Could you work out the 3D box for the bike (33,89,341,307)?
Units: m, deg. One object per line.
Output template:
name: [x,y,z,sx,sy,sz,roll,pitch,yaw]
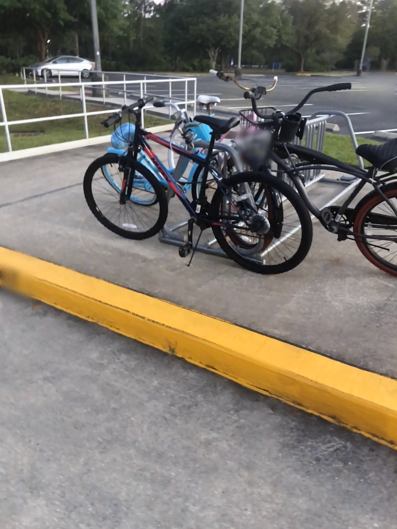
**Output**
bike: [-0.104,-0.507,2.644,1.632,0.932,0.626,14,28,26]
